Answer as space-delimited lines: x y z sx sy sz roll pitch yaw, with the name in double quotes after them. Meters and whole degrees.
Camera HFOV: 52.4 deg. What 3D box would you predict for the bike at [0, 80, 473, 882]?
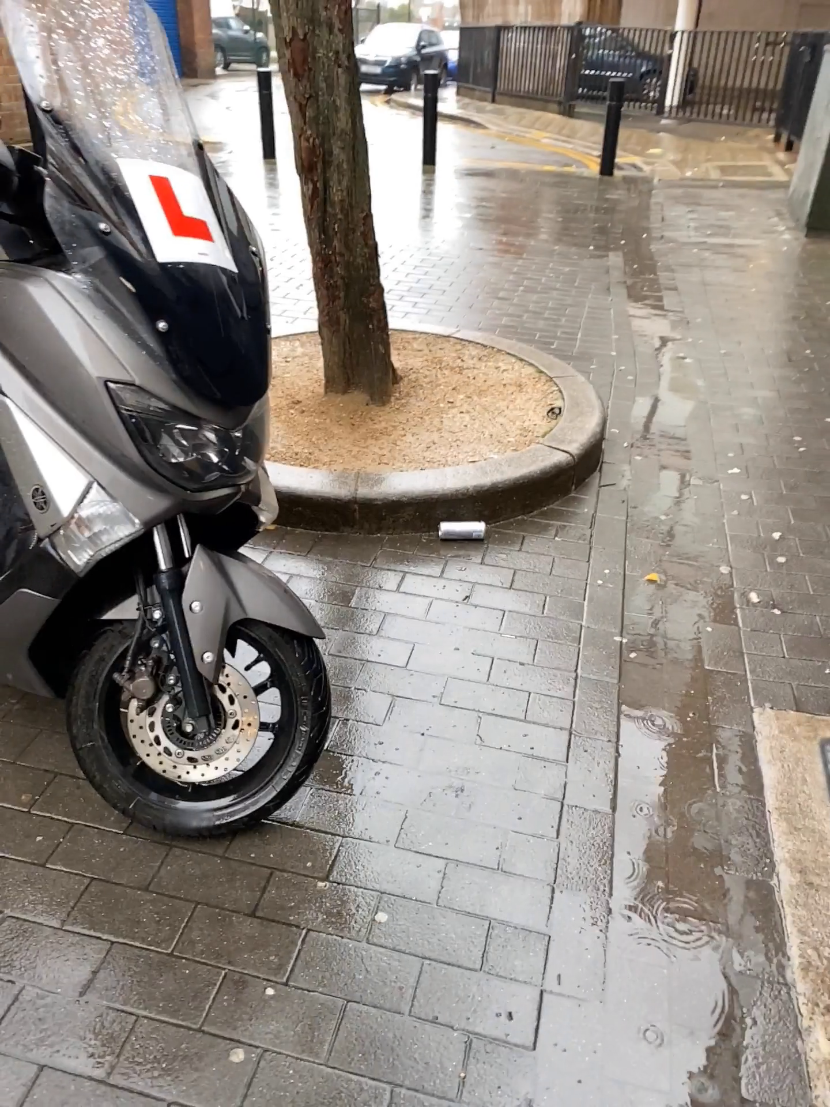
-0.854 -0.316 1.836 1.733 1.121 0.763 18 35 23 "bike"
